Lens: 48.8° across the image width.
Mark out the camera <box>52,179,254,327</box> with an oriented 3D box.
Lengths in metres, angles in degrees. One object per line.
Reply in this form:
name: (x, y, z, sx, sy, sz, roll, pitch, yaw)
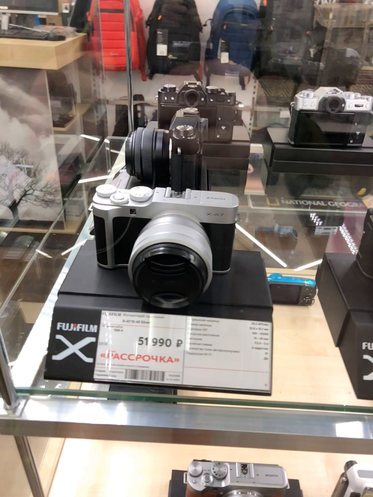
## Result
camera: (-0.021, -0.001, 0.329, 0.133, 0.066, 0.101, 4, 33, 1)
